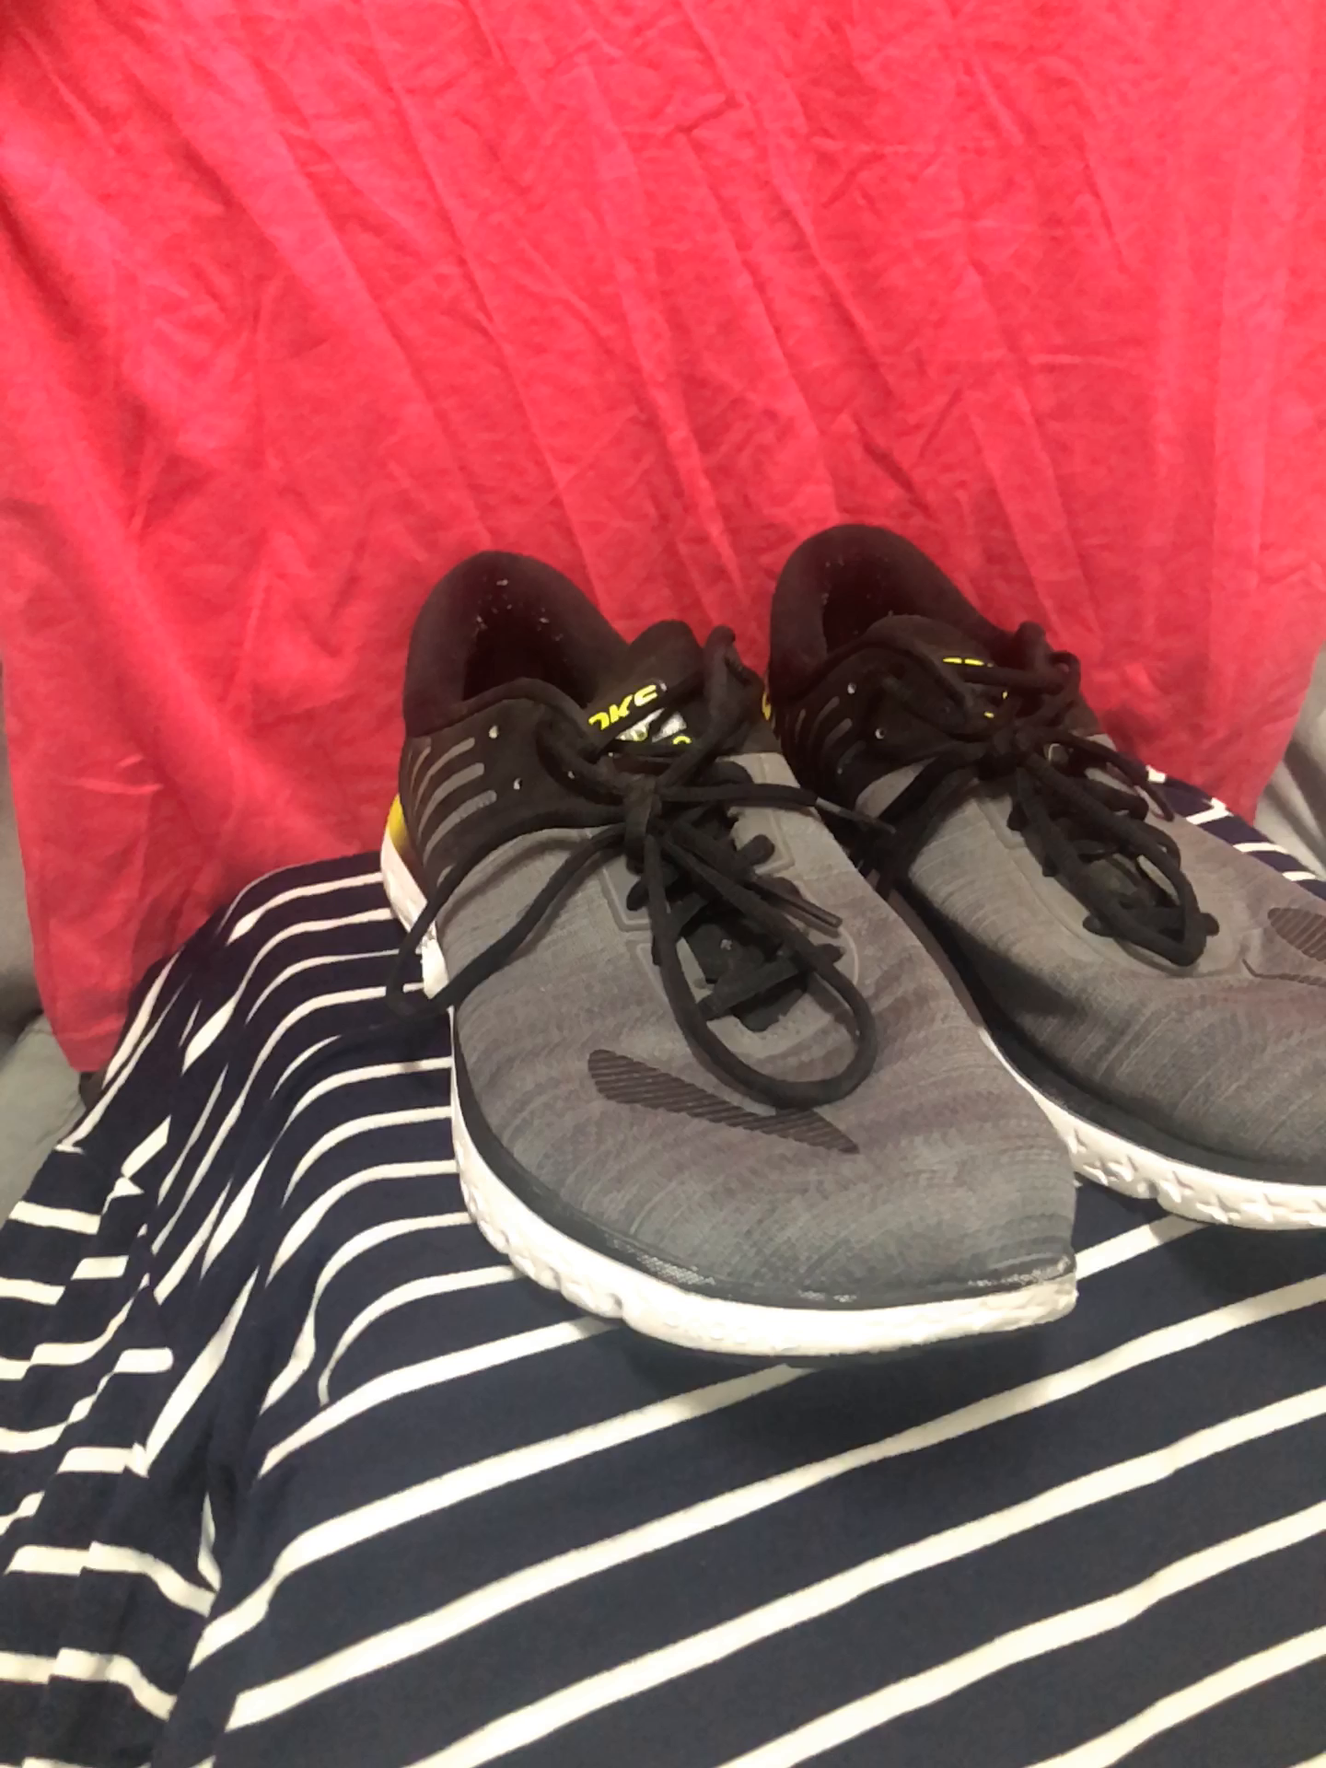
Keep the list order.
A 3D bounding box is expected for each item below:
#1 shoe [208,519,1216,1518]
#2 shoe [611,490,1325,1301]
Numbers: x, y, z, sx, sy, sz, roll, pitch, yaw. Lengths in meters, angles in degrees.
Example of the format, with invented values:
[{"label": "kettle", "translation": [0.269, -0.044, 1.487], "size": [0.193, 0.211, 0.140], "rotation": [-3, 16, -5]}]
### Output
[{"label": "shoe", "translation": [-0.023, -0.010, 0.339], "size": [0.102, 0.079, 0.292], "rotation": [-12, 29, -22]}, {"label": "shoe", "translation": [0.088, -0.029, 0.375], "size": [0.104, 0.079, 0.282], "rotation": [-11, 29, -21]}]
